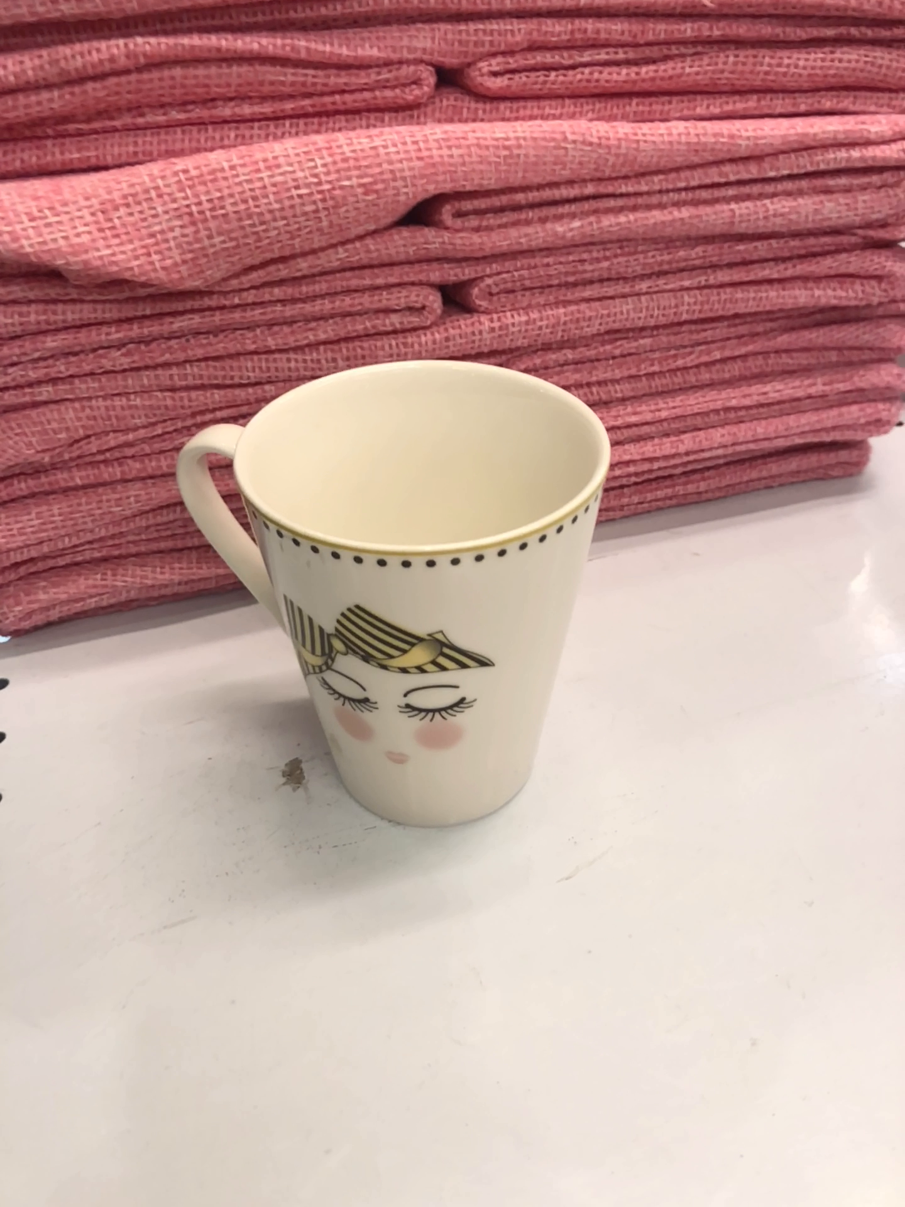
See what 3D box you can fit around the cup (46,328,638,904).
[{"bbox_3d":[-0.017,-0.002,0.262,0.110,0.099,0.091,9,40,16],"label":"cup"}]
